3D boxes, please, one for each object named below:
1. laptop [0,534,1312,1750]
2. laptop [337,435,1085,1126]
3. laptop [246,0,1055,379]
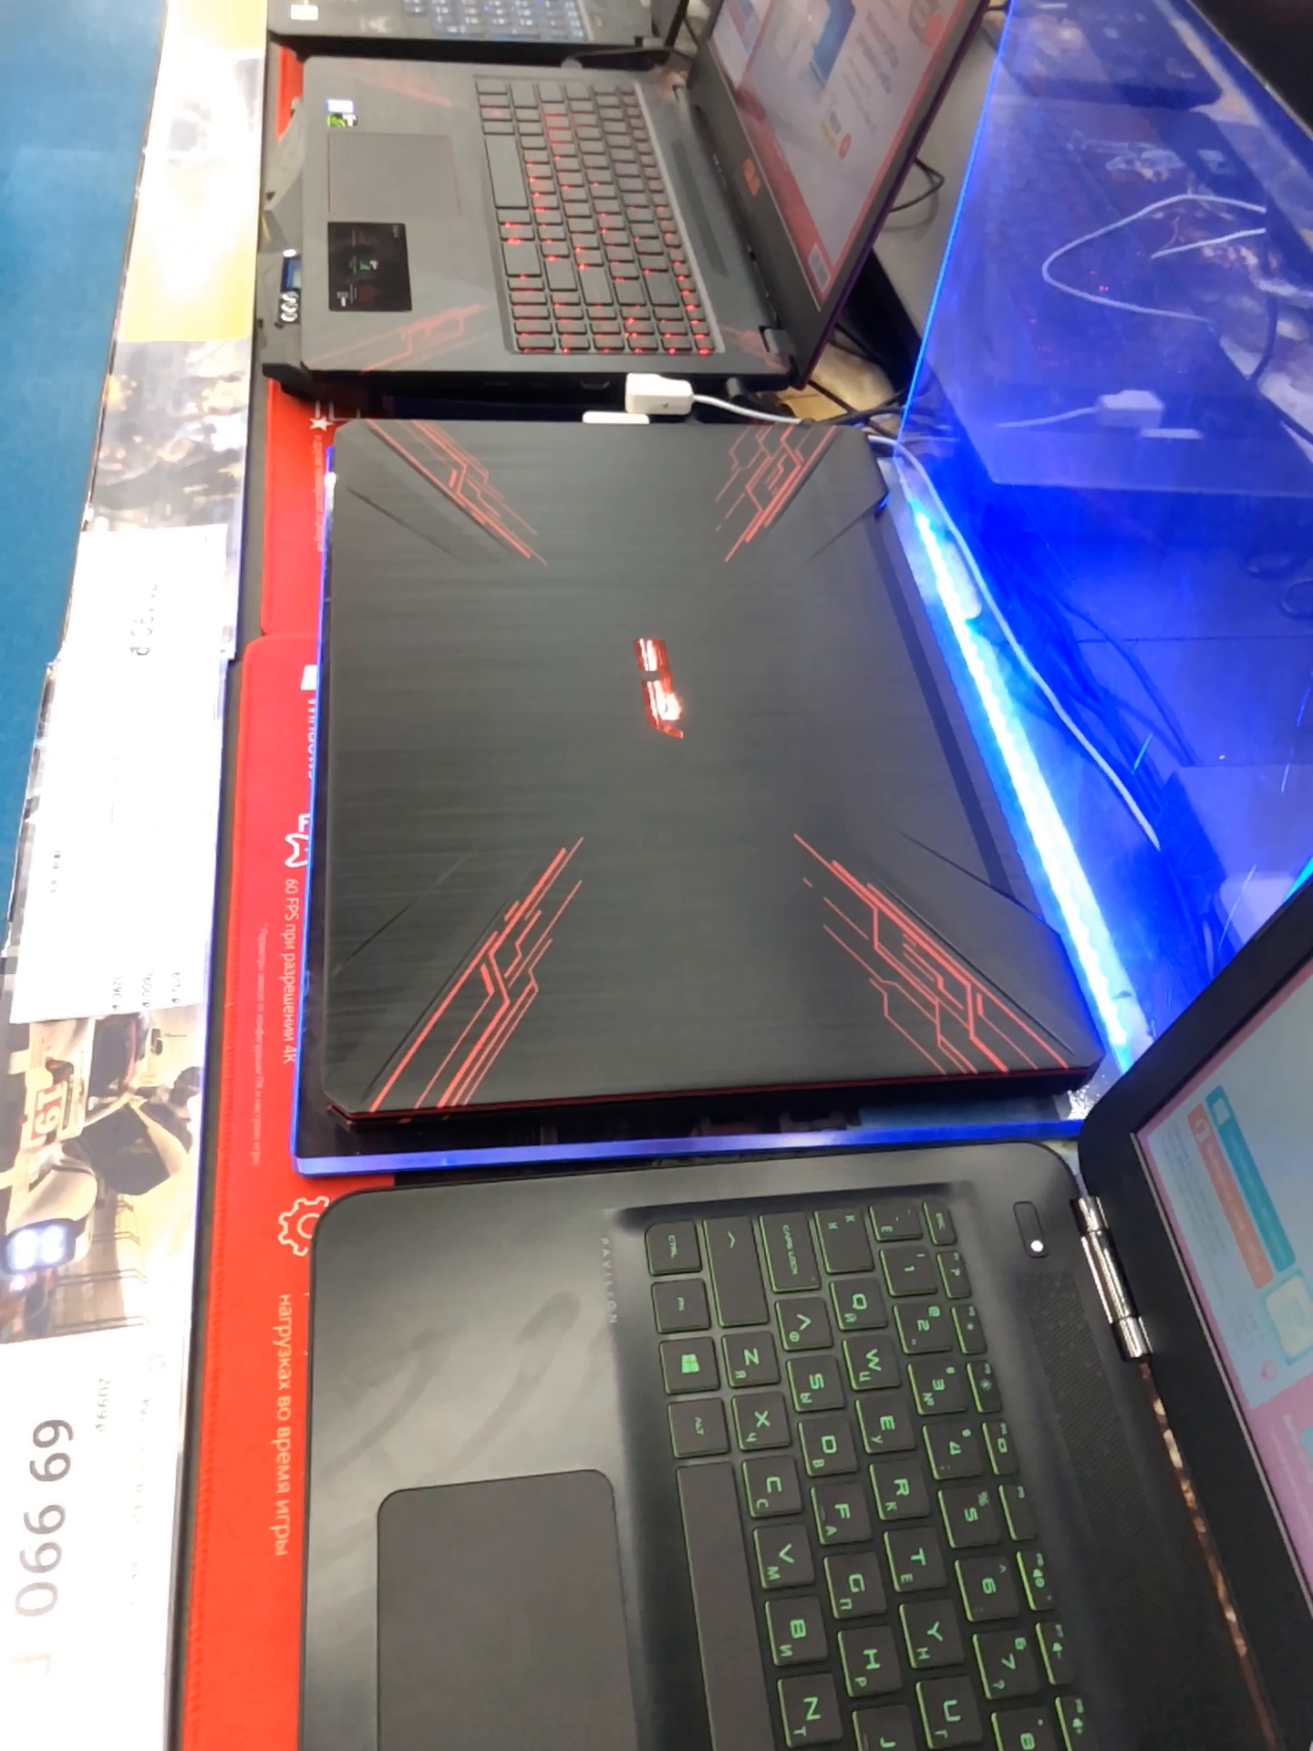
[{"bbox_3d":[0.070,0.159,0.259,0.292,0.242,0.375,-2,50,-8],"label":"laptop"},{"bbox_3d":[0.000,-0.071,0.584,0.243,0.006,0.374,-2,49,-8],"label":"laptop"},{"bbox_3d":[-0.032,-0.476,0.769,0.318,0.231,0.392,-3,50,-10],"label":"laptop"}]
